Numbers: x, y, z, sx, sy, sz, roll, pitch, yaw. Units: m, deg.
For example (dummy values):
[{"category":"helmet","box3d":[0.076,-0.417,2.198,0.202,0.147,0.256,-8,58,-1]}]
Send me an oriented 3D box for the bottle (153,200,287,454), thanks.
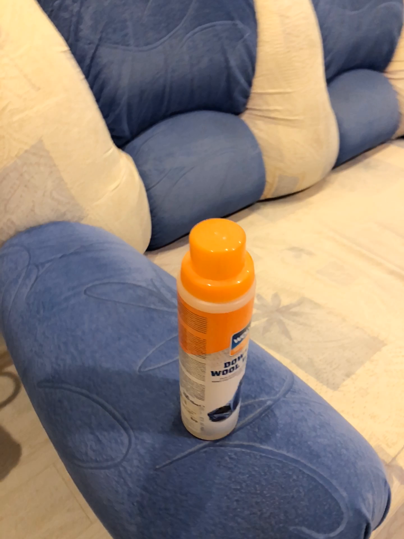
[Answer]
[{"category":"bottle","box3d":[0.008,0.051,0.308,0.052,0.188,0.052,1,45,-1]}]
